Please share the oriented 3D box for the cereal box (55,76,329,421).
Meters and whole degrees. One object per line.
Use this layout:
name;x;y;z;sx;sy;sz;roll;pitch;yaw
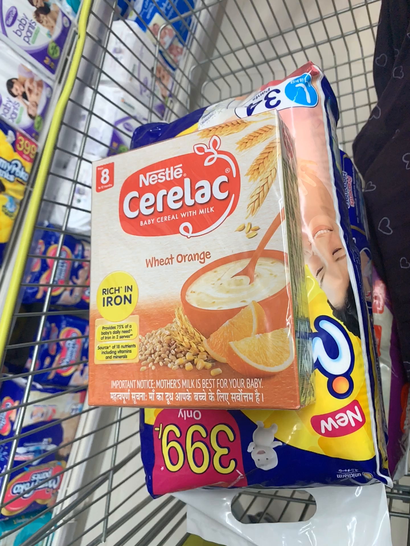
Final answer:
cereal box;-0.017;-0.007;0.286;0.171;0.050;0.190;-8;77;27
